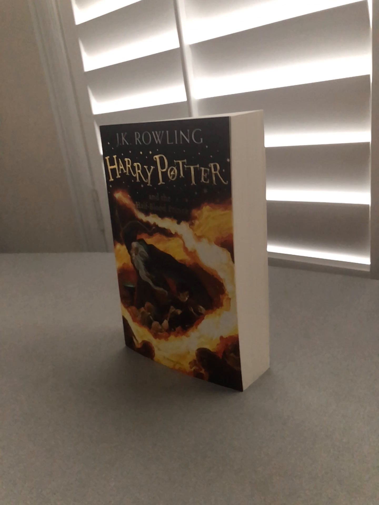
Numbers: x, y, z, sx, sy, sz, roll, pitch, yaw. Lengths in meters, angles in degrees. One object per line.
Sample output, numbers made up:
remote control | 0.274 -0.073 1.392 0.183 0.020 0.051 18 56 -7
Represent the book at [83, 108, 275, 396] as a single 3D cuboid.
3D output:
book | -0.009 -0.006 0.336 0.142 0.194 0.047 8 20 41
